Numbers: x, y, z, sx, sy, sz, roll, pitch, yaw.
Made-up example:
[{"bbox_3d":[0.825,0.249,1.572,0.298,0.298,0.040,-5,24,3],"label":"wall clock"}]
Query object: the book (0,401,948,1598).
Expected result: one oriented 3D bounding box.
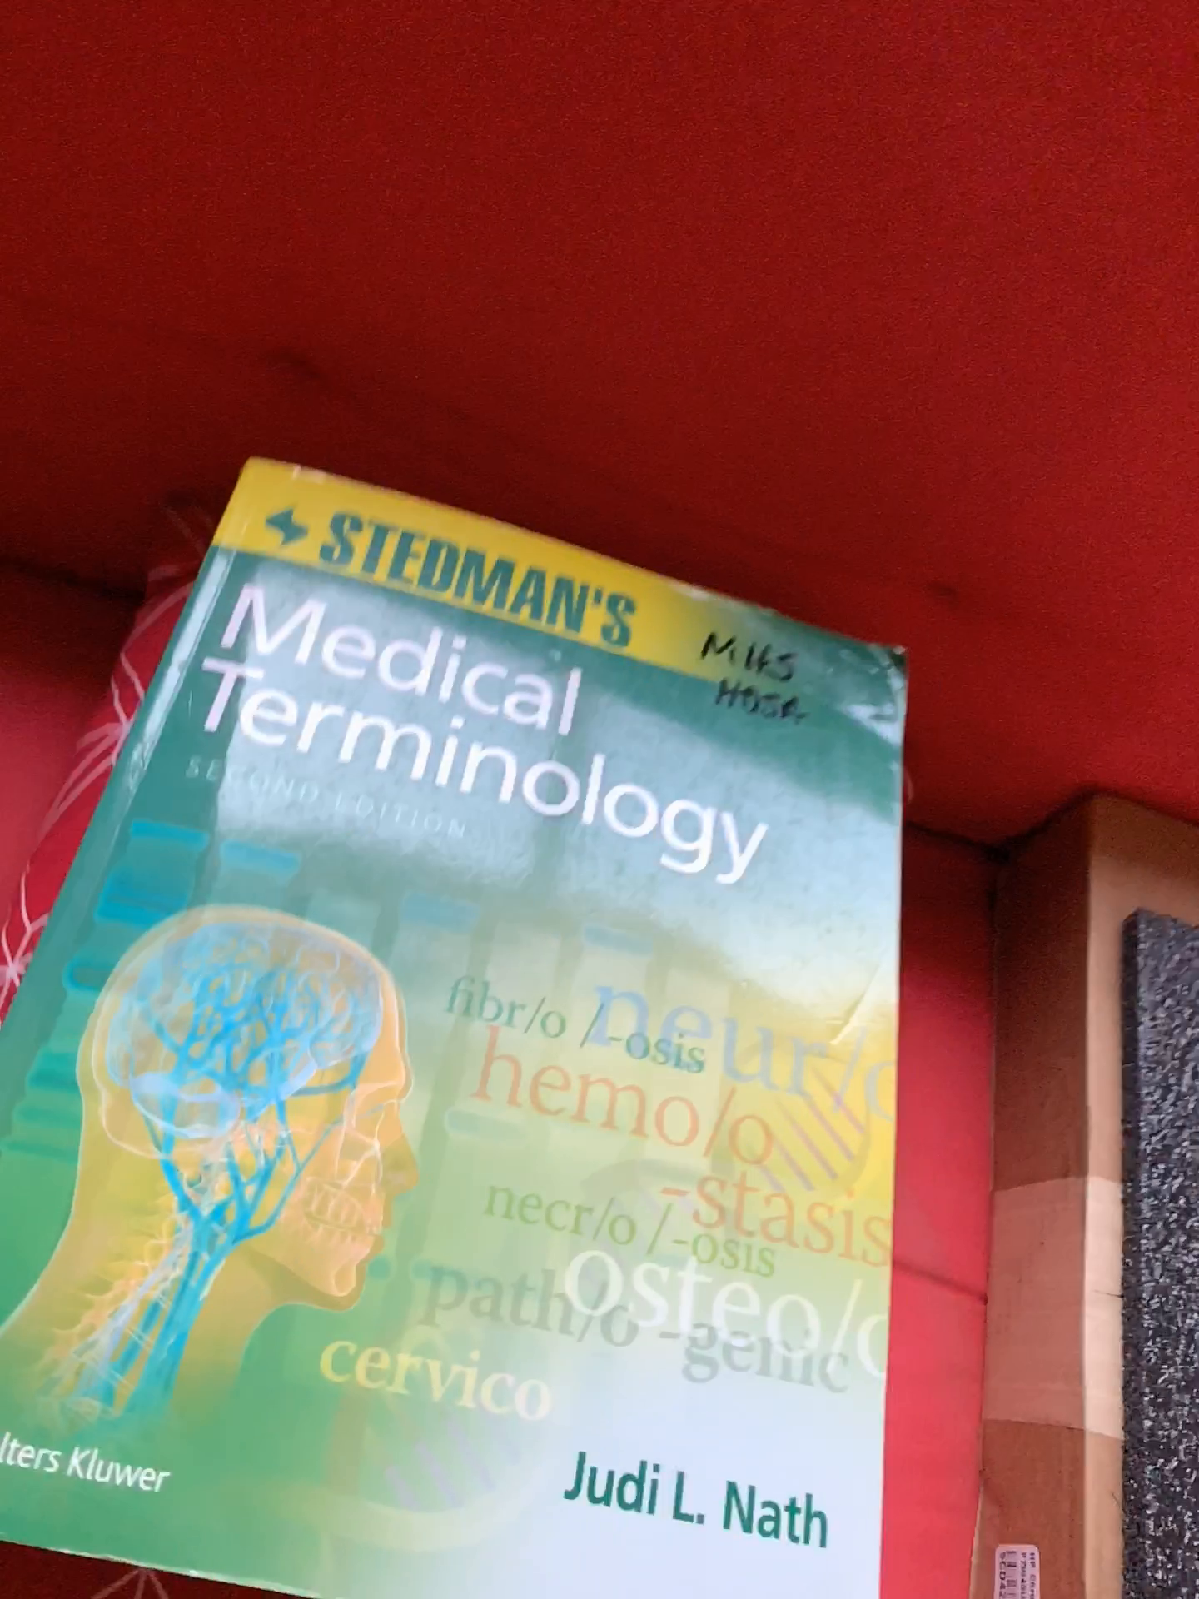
[{"bbox_3d":[-0.026,0.049,0.339,0.240,0.040,0.301,17,59,-10],"label":"book"}]
